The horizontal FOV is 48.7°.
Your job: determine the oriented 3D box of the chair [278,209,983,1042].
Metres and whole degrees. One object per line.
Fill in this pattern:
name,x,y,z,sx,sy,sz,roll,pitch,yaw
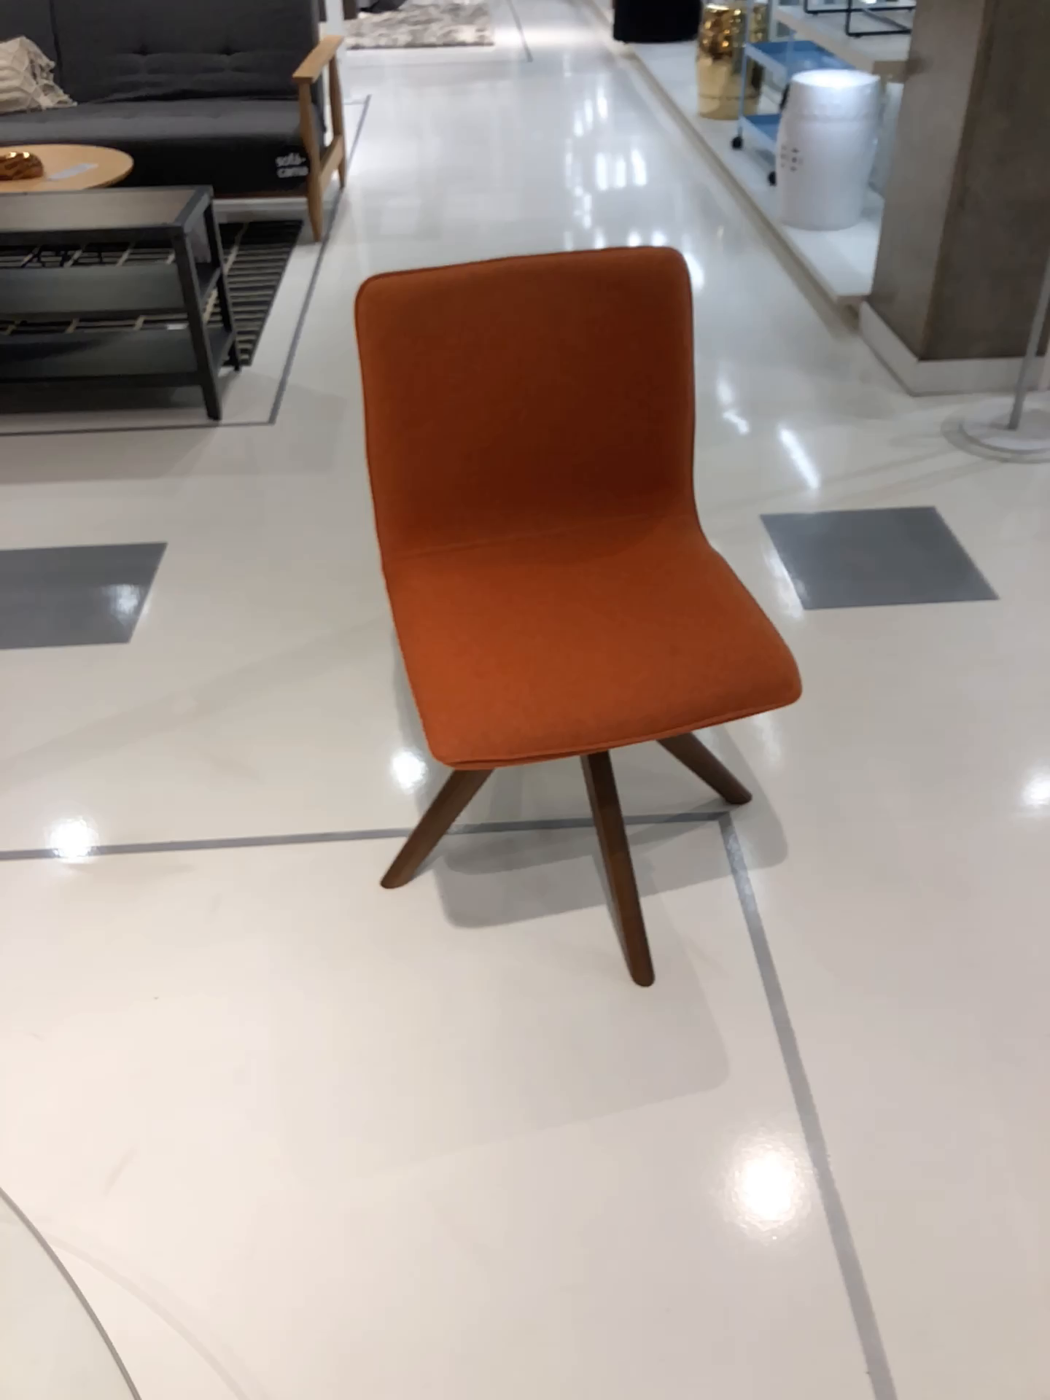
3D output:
chair,0.074,-0.120,1.520,0.610,0.794,0.614,-10,37,-11
